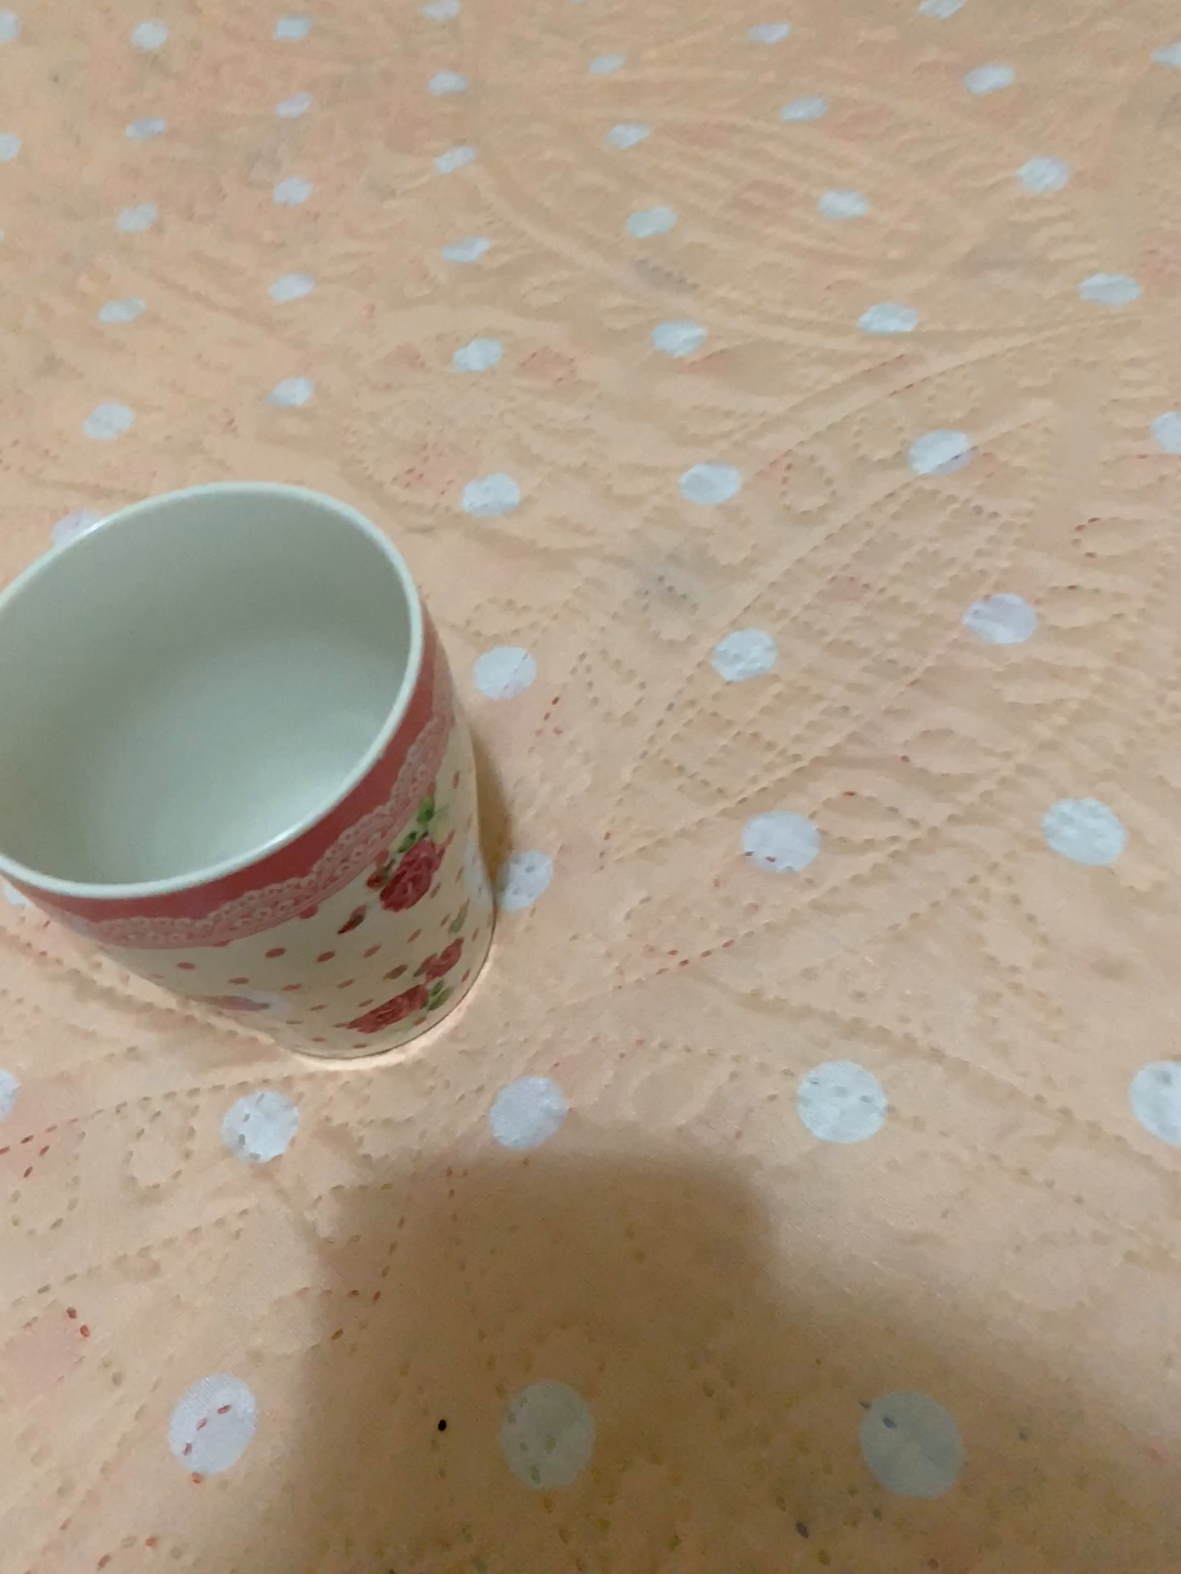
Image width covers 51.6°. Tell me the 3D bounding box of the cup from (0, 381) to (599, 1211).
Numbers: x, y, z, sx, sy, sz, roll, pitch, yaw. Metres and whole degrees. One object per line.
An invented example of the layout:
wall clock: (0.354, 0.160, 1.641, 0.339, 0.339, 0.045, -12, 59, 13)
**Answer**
cup: (-0.079, 0.001, 0.245, 0.120, 0.100, 0.090, 23, 63, 24)
